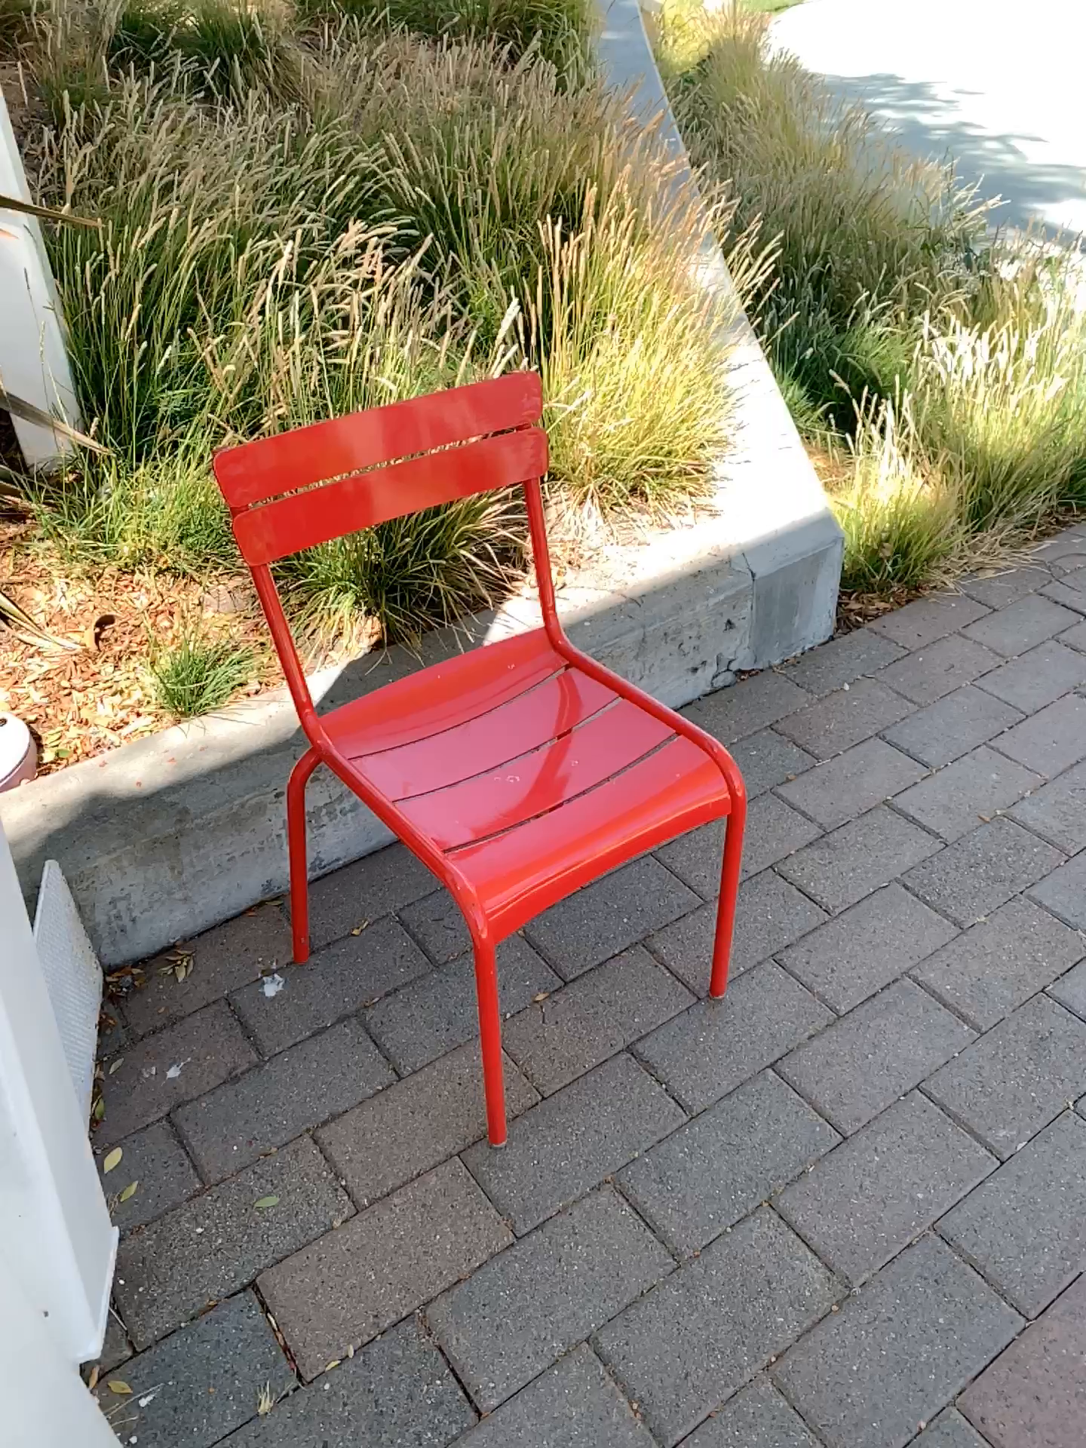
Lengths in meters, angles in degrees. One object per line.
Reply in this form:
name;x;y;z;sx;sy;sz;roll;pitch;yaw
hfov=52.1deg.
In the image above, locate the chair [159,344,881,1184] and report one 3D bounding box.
chair;-0.040;0.013;1.524;0.581;0.785;0.633;-25;42;-28
